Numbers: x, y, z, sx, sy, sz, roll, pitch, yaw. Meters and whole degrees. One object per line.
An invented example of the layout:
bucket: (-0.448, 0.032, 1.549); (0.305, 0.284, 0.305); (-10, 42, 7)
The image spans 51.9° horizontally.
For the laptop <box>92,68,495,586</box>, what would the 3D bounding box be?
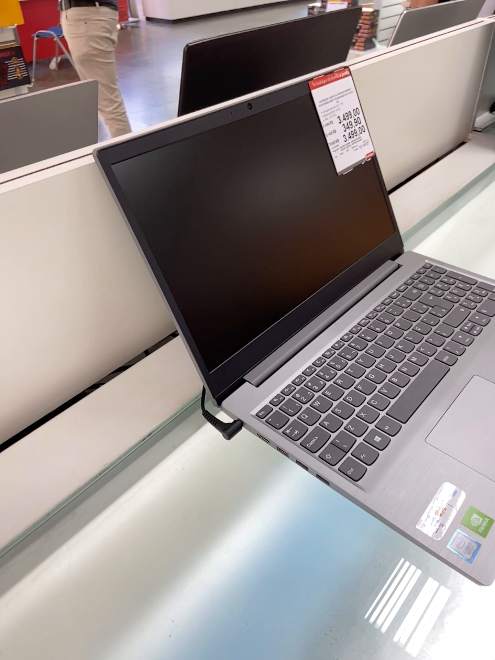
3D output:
laptop: (0.138, -0.072, 0.467); (0.366, 0.201, 0.361); (29, 47, 31)
